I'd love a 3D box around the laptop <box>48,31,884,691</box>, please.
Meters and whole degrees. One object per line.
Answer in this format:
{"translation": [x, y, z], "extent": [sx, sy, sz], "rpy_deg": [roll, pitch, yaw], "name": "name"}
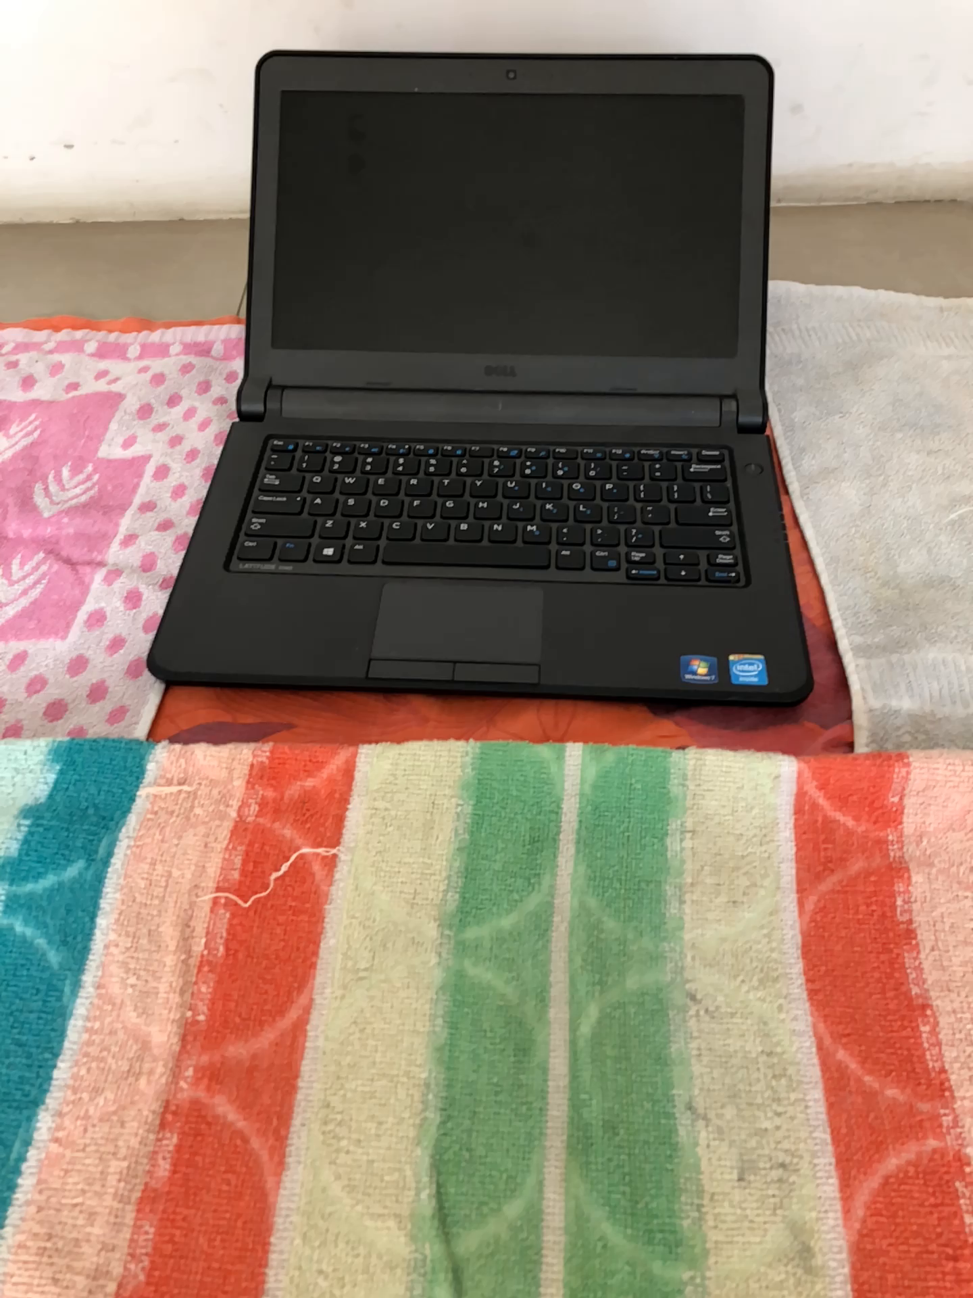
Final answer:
{"translation": [0.005, -0.183, 0.580], "extent": [0.313, 0.143, 0.394], "rpy_deg": [2, 48, 3], "name": "laptop"}
